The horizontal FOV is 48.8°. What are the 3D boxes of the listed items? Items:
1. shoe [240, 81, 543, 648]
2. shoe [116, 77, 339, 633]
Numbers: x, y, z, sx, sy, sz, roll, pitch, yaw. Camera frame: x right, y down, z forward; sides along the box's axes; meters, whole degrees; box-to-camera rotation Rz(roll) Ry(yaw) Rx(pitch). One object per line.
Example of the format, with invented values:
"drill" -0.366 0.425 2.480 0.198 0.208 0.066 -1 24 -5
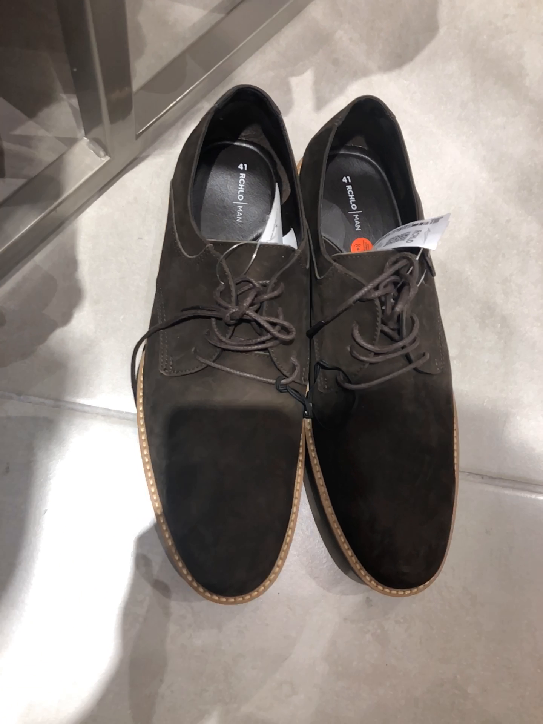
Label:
"shoe" 0.061 -0.004 0.380 0.110 0.120 0.300 -7 80 -10
"shoe" -0.033 -0.005 0.383 0.110 0.120 0.300 1 78 -9
